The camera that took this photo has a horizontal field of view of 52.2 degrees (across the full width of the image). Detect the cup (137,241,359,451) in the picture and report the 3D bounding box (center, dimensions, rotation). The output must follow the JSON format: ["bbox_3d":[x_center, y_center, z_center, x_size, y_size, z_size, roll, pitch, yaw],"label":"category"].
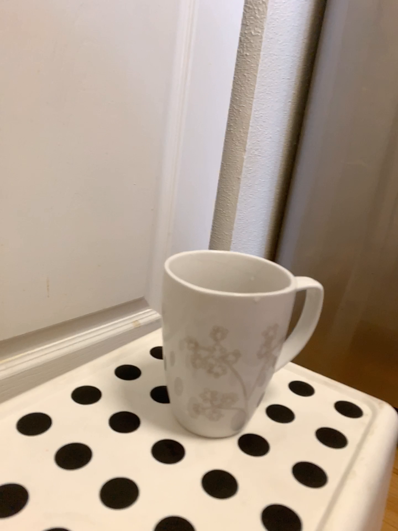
[{"bbox_3d":[0.030,0.045,0.284,0.120,0.110,0.070,-2,19,-28],"label":"cup"}]
